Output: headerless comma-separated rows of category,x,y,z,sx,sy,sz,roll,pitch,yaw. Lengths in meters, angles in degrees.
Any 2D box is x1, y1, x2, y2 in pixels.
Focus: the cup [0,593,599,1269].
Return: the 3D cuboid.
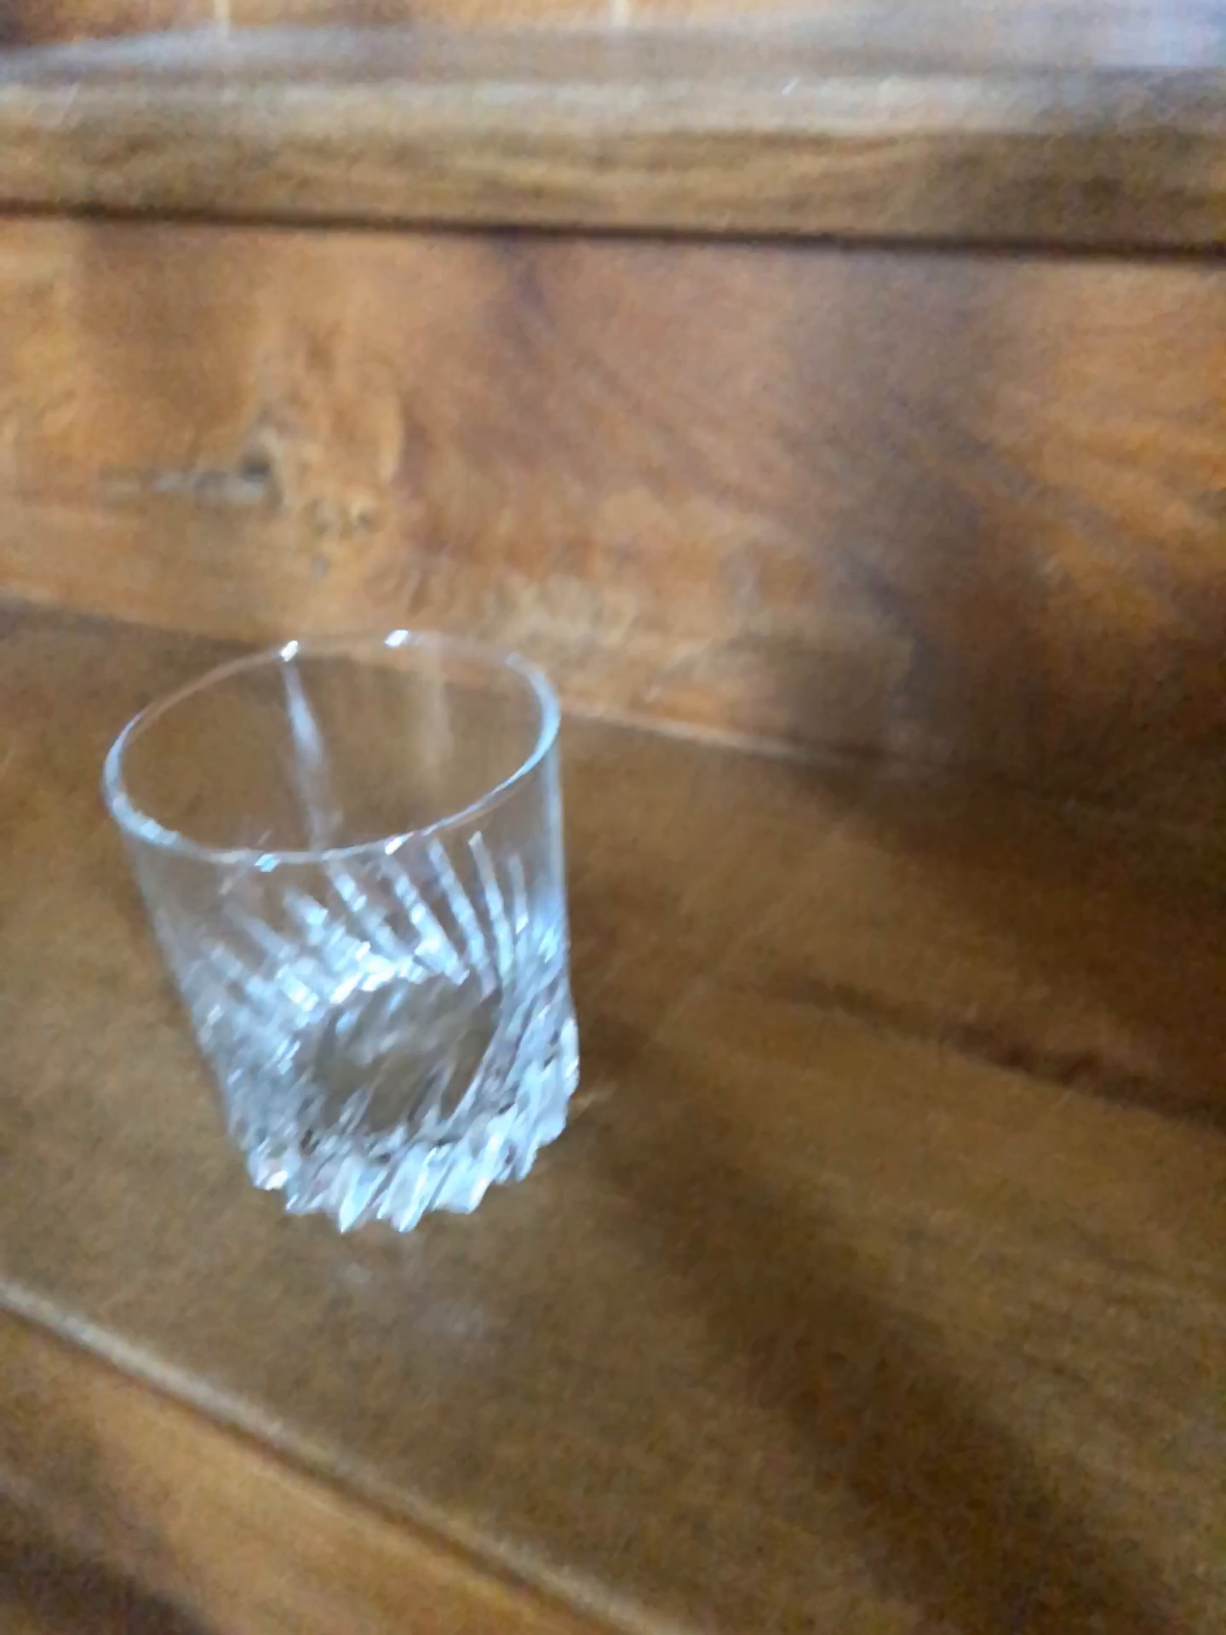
cup,-0.053,0.018,0.270,0.090,0.089,0.091,-3,32,2
